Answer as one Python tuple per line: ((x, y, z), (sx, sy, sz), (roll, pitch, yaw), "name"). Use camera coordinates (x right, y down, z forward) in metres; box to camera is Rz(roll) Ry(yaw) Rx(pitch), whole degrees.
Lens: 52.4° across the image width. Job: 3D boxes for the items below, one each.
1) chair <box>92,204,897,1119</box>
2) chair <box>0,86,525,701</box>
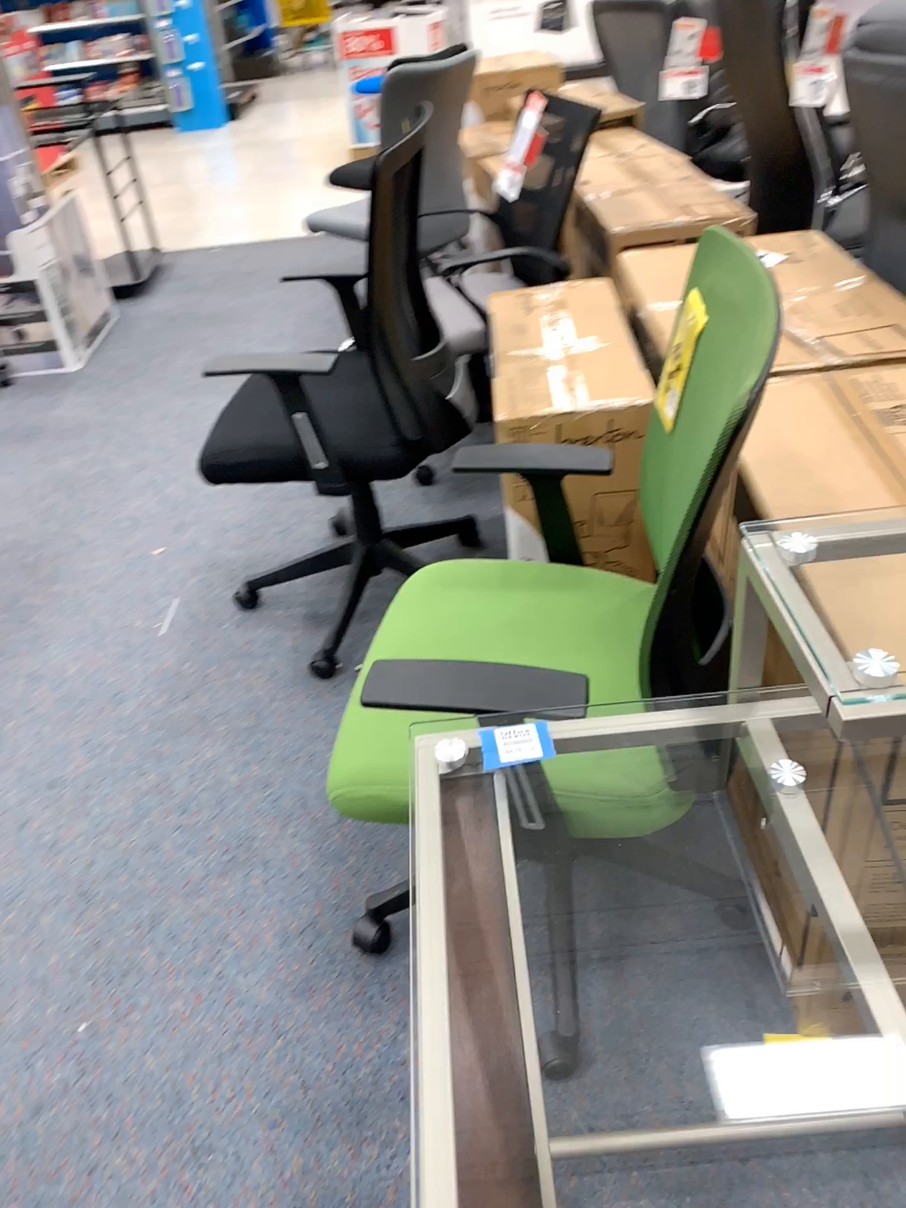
((0.113, 0.066, 1.190), (0.597, 0.912, 0.647), (2, 37, 13), "chair")
((-0.253, -0.407, 1.843), (0.657, 0.972, 0.647), (2, 37, 13), "chair")
